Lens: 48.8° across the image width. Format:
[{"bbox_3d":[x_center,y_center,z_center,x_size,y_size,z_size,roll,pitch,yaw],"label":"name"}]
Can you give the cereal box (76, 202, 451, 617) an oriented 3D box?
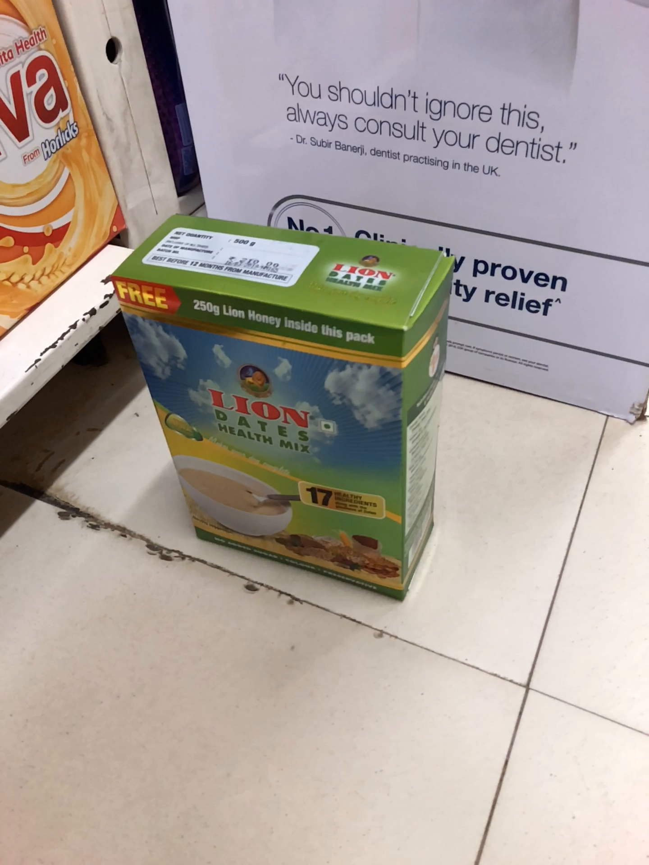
[{"bbox_3d":[-0.019,-0.007,0.359,0.140,0.179,0.070,14,47,20],"label":"cereal box"}]
